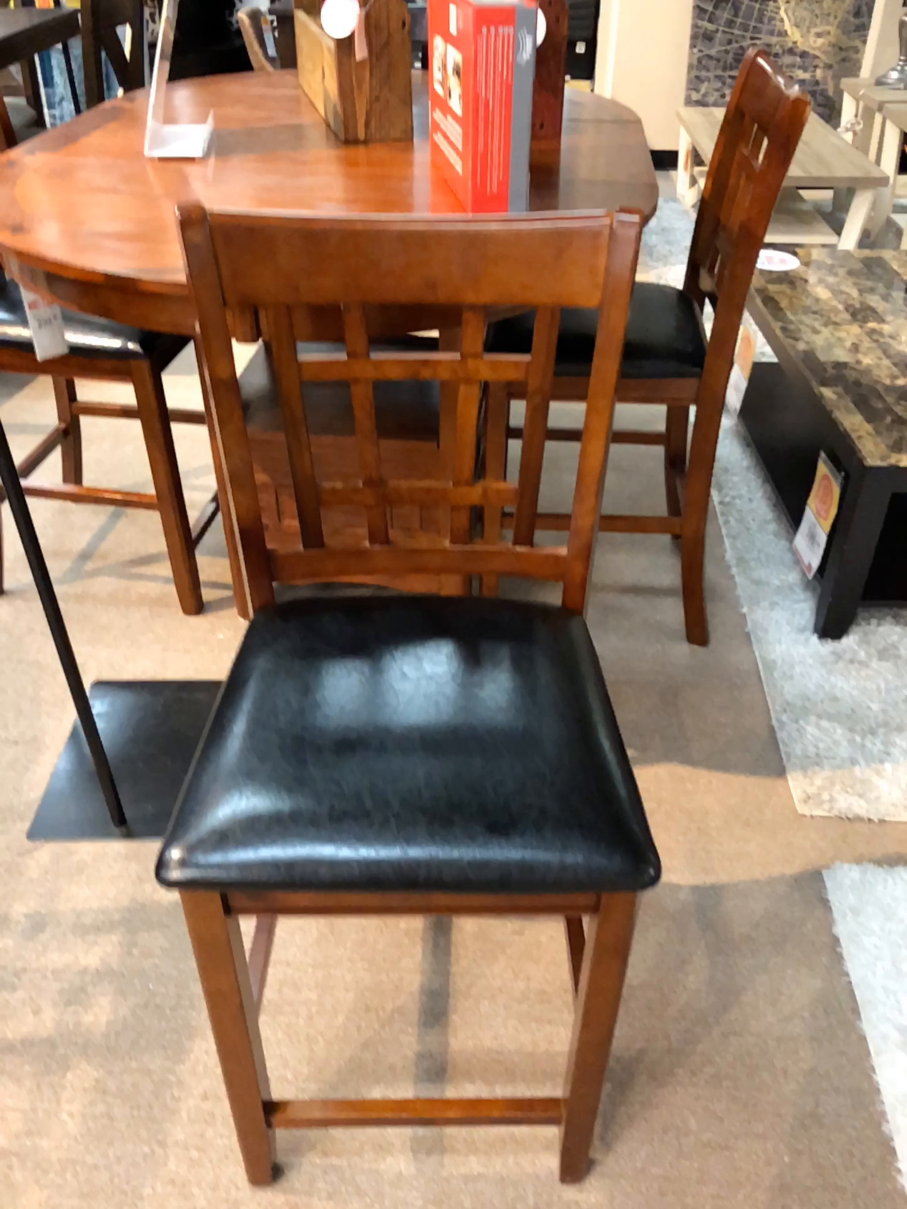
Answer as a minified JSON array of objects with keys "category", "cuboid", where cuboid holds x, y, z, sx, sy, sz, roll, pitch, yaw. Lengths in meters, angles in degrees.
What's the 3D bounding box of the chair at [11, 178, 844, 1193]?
[{"category":"chair","cuboid":[-0.022,0.124,1.055,0.470,0.964,0.523,0,36,-1]}]
